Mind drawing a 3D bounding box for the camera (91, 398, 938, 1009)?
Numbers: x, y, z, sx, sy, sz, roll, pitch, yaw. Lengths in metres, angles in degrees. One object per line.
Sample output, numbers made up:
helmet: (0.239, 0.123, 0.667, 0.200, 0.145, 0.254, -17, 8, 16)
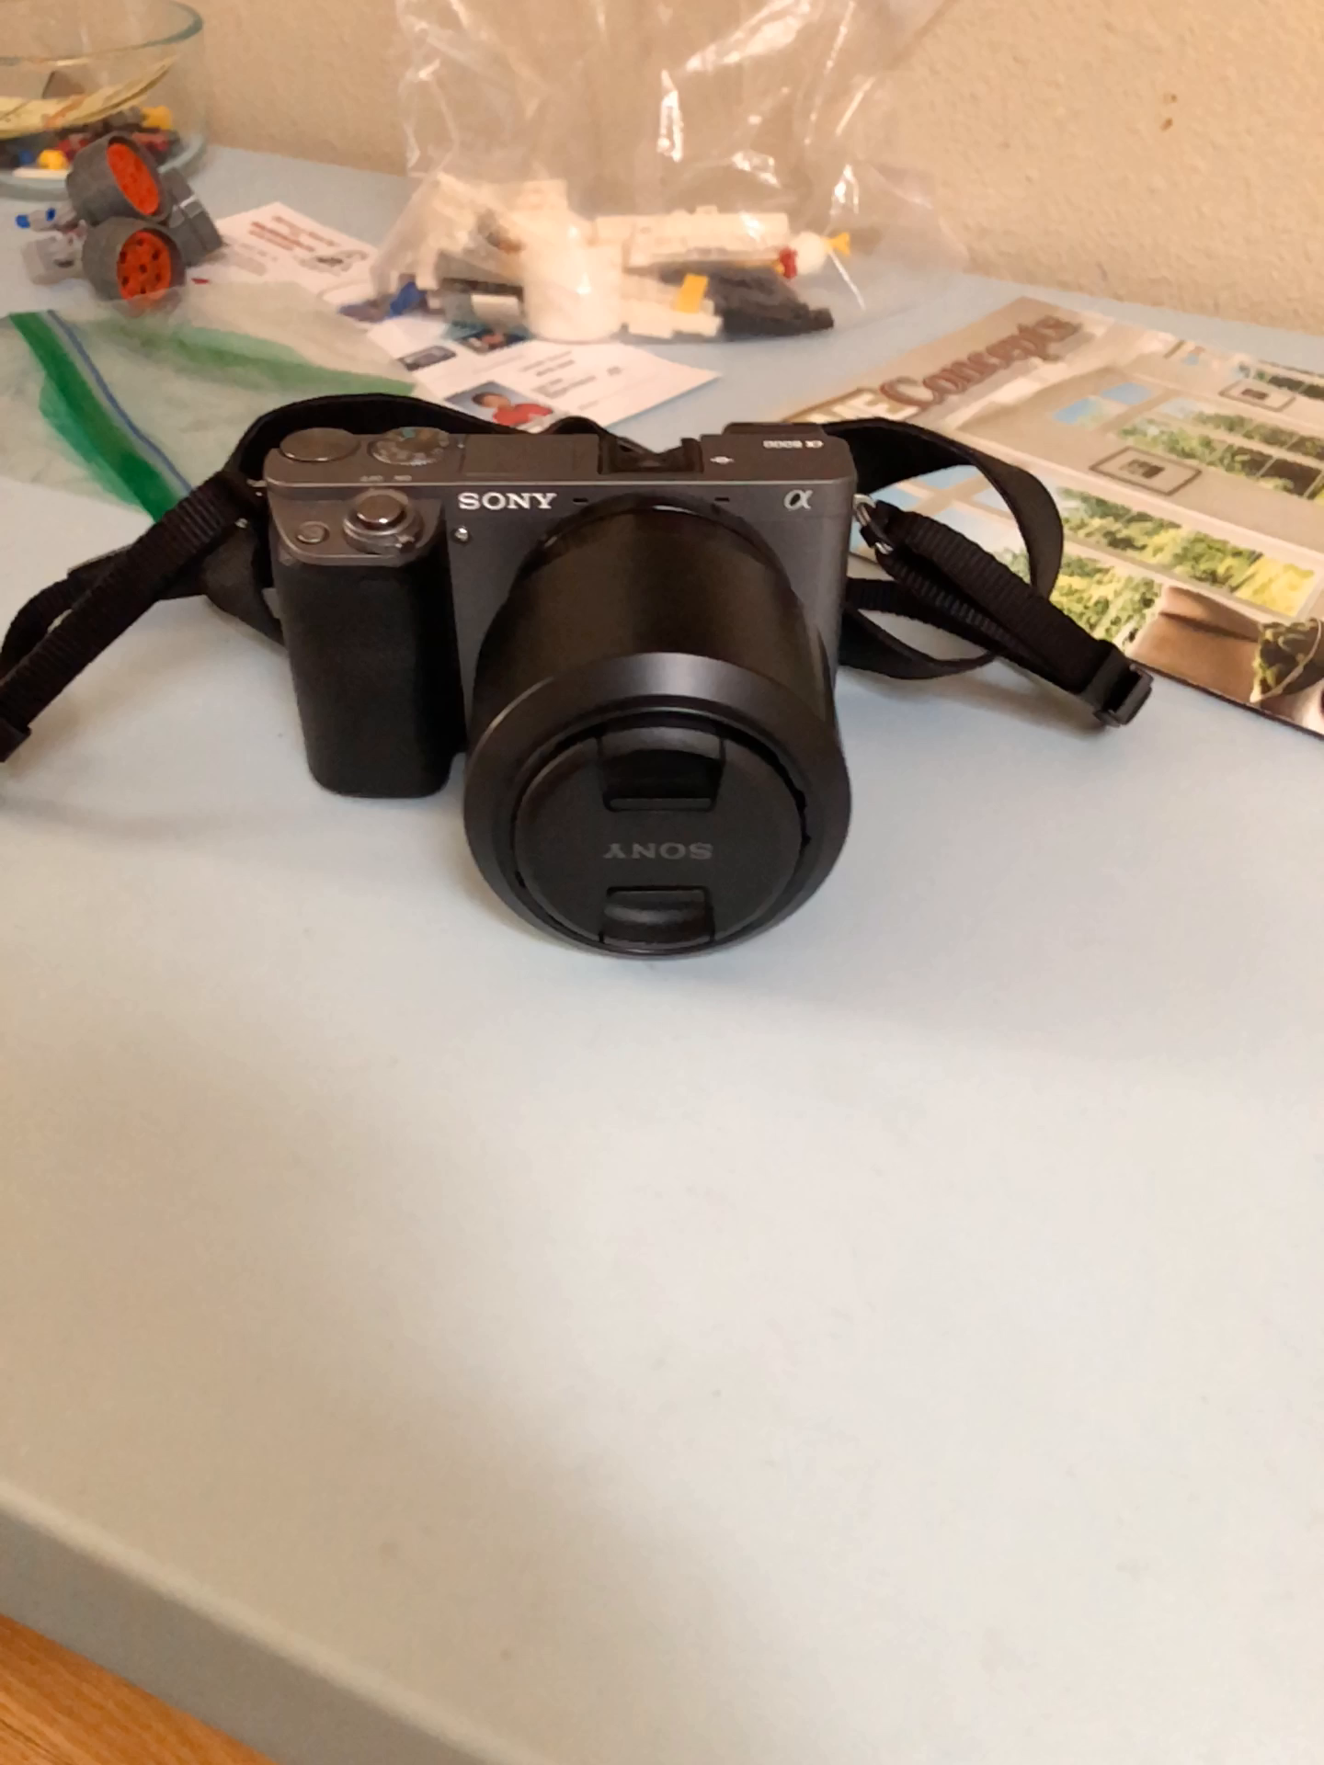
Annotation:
camera: (-0.023, -0.039, 0.289, 0.130, 0.070, 0.111, 0, 40, -1)
